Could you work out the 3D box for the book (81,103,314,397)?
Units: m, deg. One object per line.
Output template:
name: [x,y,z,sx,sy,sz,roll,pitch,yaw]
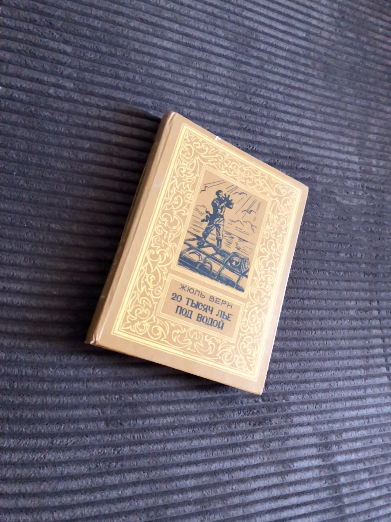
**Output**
book: [0.016,-0.007,0.398,0.170,0.029,0.219,23,73,-23]
